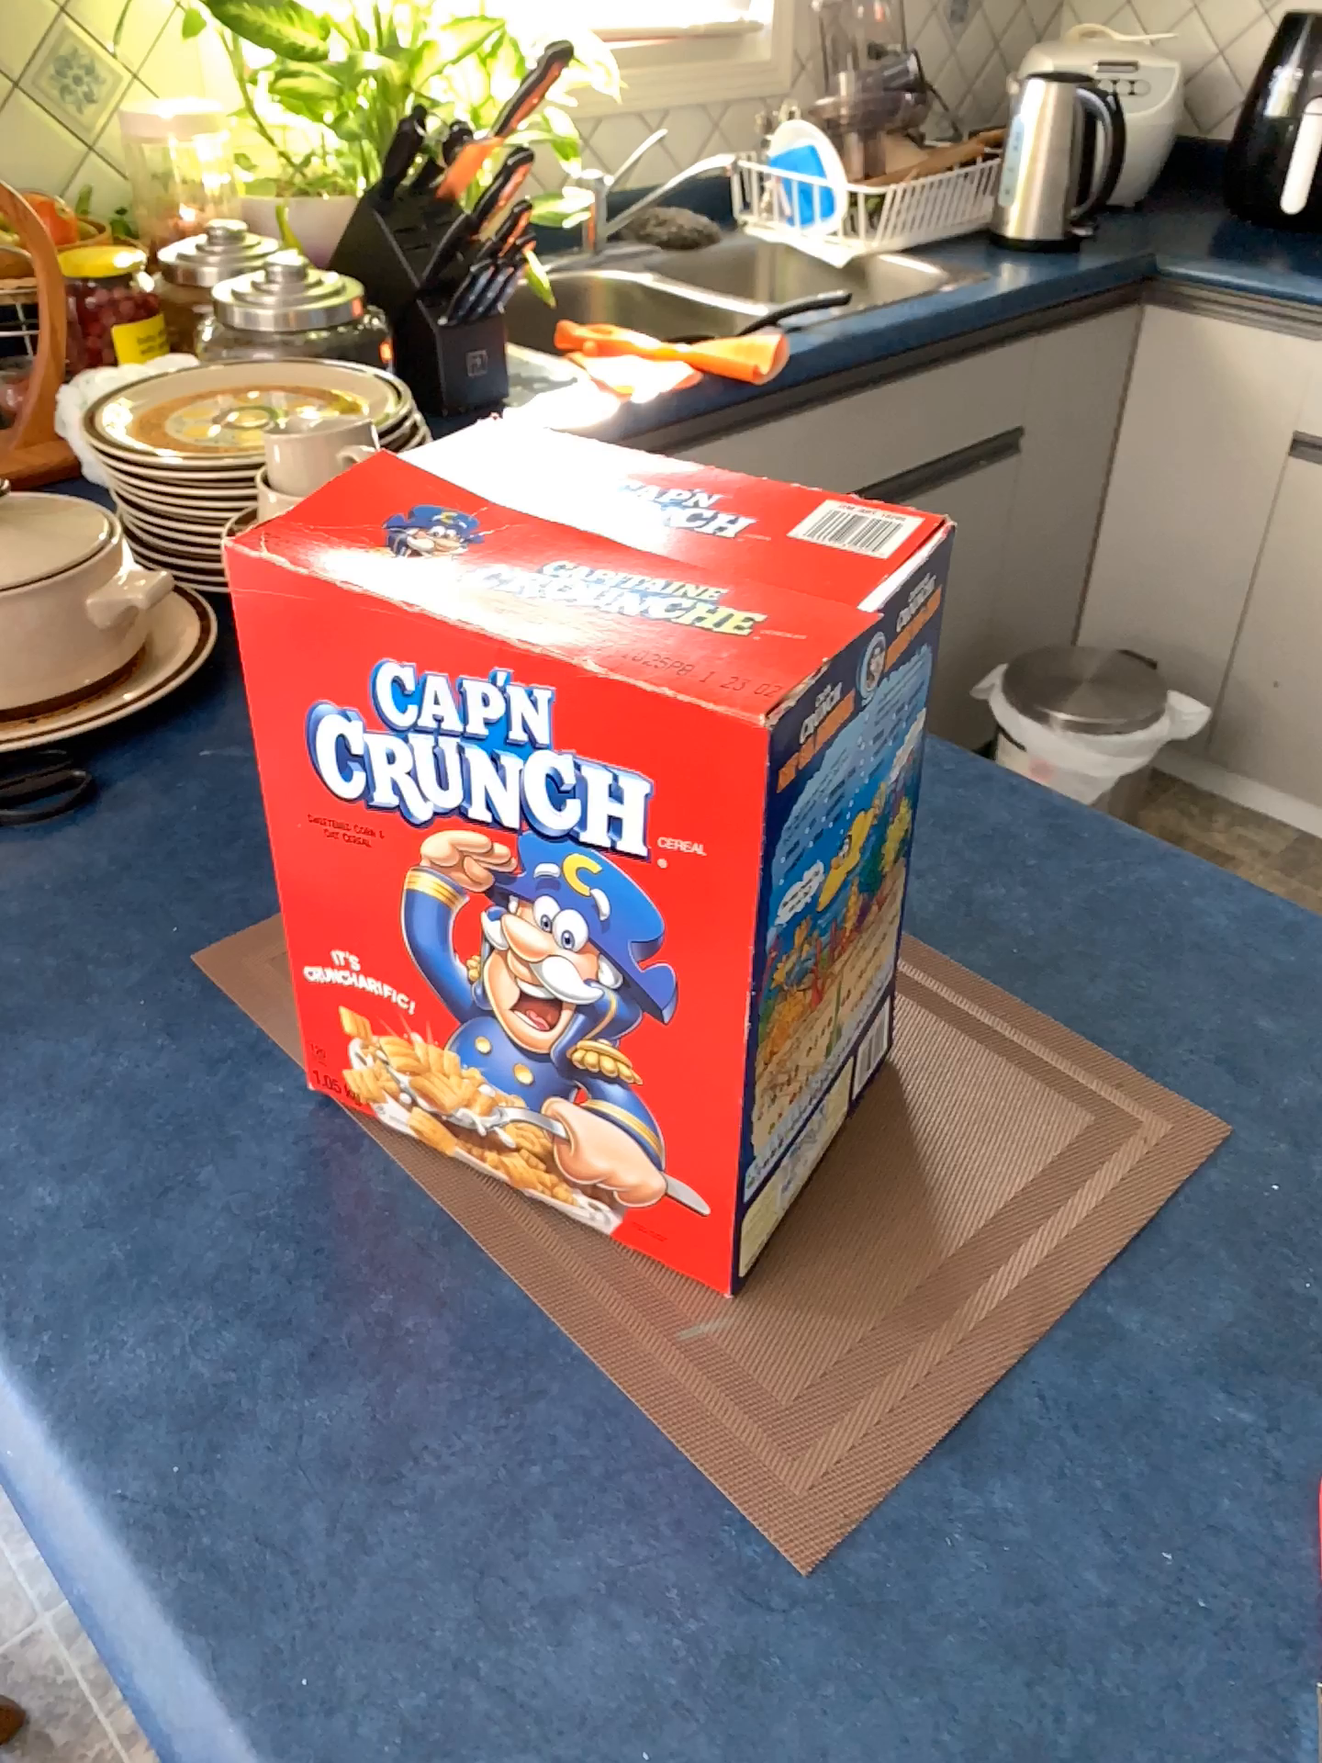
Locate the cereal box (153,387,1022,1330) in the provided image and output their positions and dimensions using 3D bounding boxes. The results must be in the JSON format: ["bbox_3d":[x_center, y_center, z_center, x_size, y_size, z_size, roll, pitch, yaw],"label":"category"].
[{"bbox_3d":[-0.025,-0.026,0.620,0.271,0.297,0.211,20,40,25],"label":"cereal box"}]
